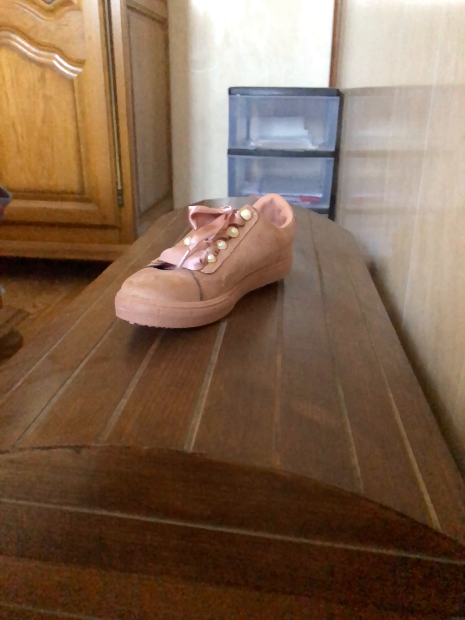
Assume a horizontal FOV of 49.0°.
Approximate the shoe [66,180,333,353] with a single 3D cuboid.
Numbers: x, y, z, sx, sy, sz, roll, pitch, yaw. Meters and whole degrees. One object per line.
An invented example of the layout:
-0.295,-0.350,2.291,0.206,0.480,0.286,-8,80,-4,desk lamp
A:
-0.012,-0.064,0.518,0.110,0.090,0.282,15,27,32,shoe
